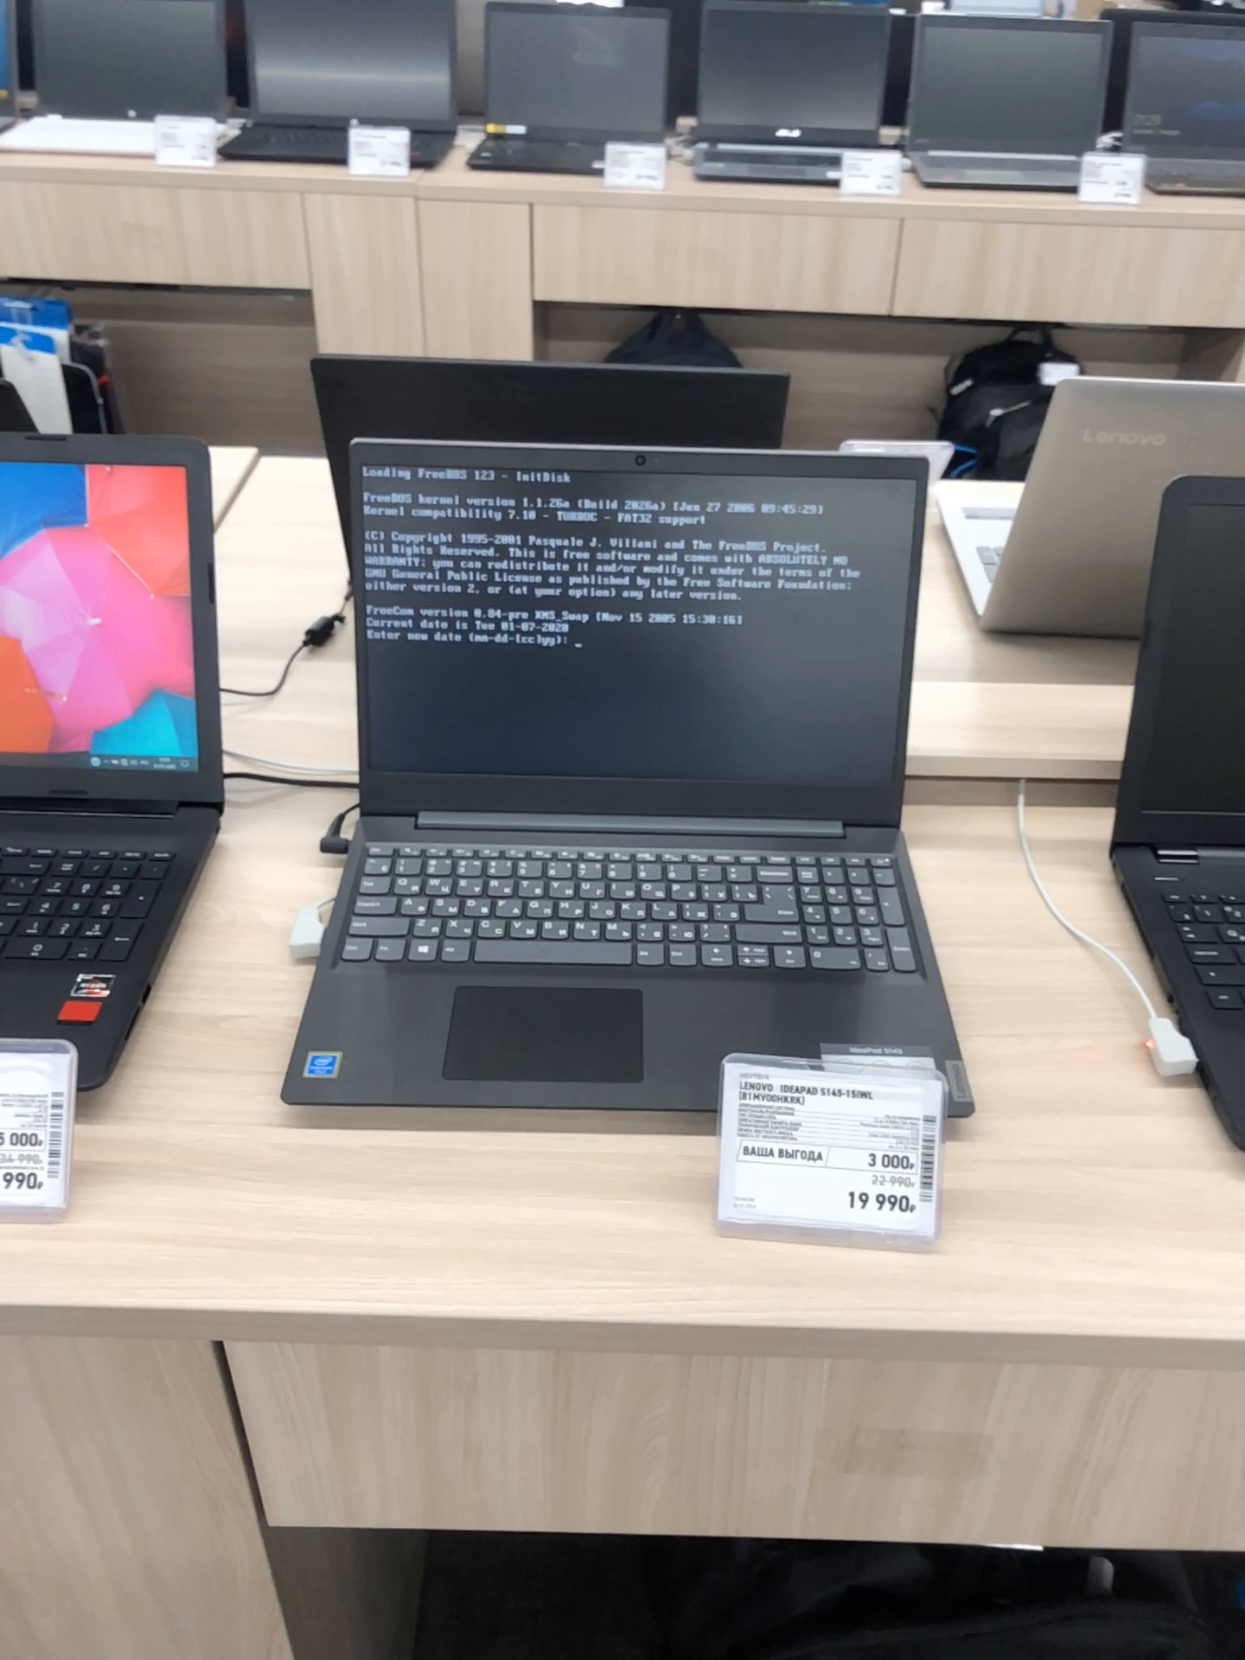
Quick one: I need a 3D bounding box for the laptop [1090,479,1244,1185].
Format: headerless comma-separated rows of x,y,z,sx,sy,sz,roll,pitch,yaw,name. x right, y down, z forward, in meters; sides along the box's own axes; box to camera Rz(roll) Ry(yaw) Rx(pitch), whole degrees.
0.481,-0.015,0.713,0.337,0.208,0.298,2,37,0,laptop

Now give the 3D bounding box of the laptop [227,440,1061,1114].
0.008,-0.046,0.748,0.340,0.210,0.323,1,37,1,laptop

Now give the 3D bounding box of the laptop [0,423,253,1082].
-0.433,-0.059,0.747,0.351,0.202,0.322,2,37,0,laptop
